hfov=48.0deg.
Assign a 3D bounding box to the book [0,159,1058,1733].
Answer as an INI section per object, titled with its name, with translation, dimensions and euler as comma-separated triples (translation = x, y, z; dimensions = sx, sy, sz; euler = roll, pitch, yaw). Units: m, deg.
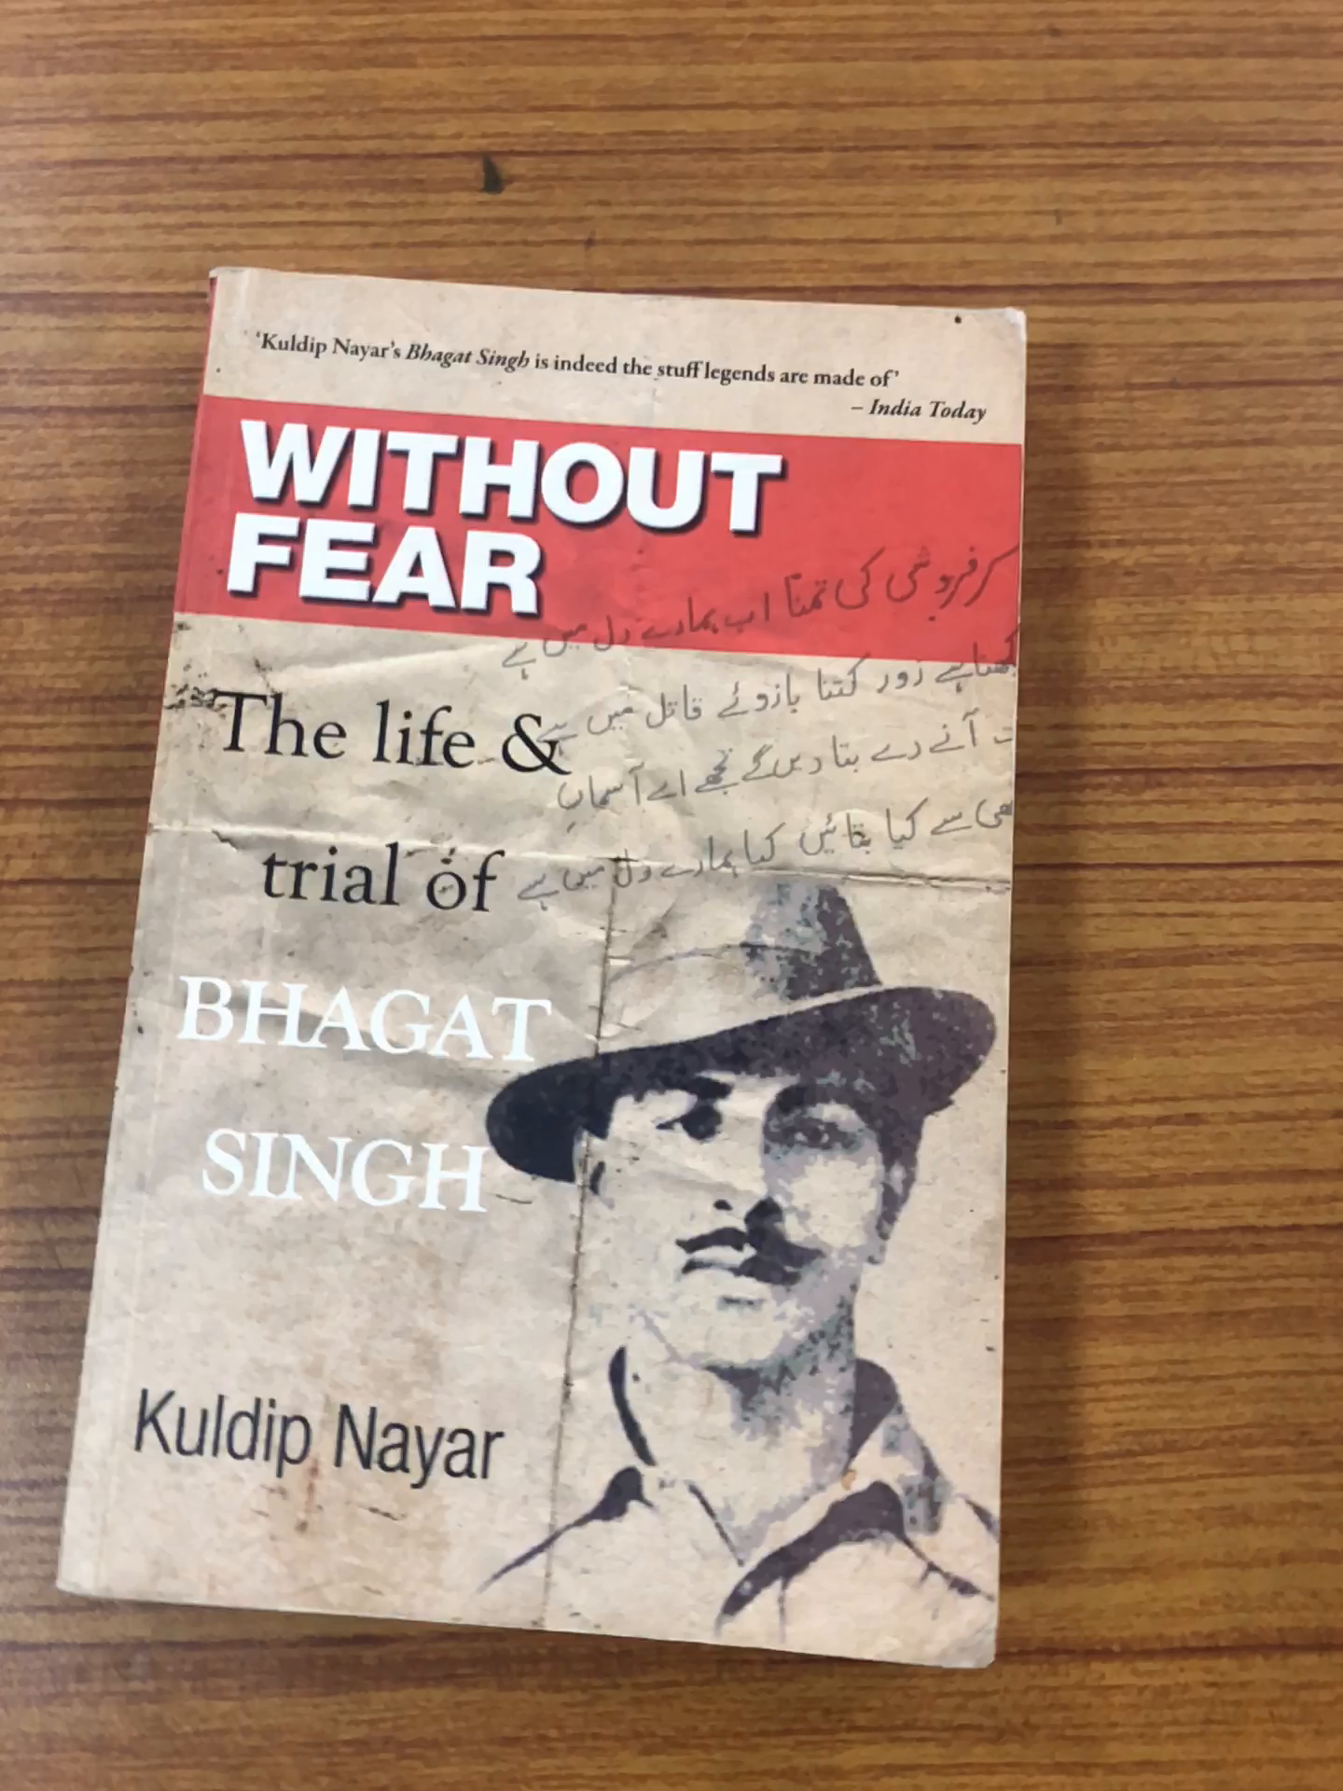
[book]
translation = -0.019, 0.000, 0.222
dimensions = 0.140, 0.030, 0.210
euler = 3, 81, 1
